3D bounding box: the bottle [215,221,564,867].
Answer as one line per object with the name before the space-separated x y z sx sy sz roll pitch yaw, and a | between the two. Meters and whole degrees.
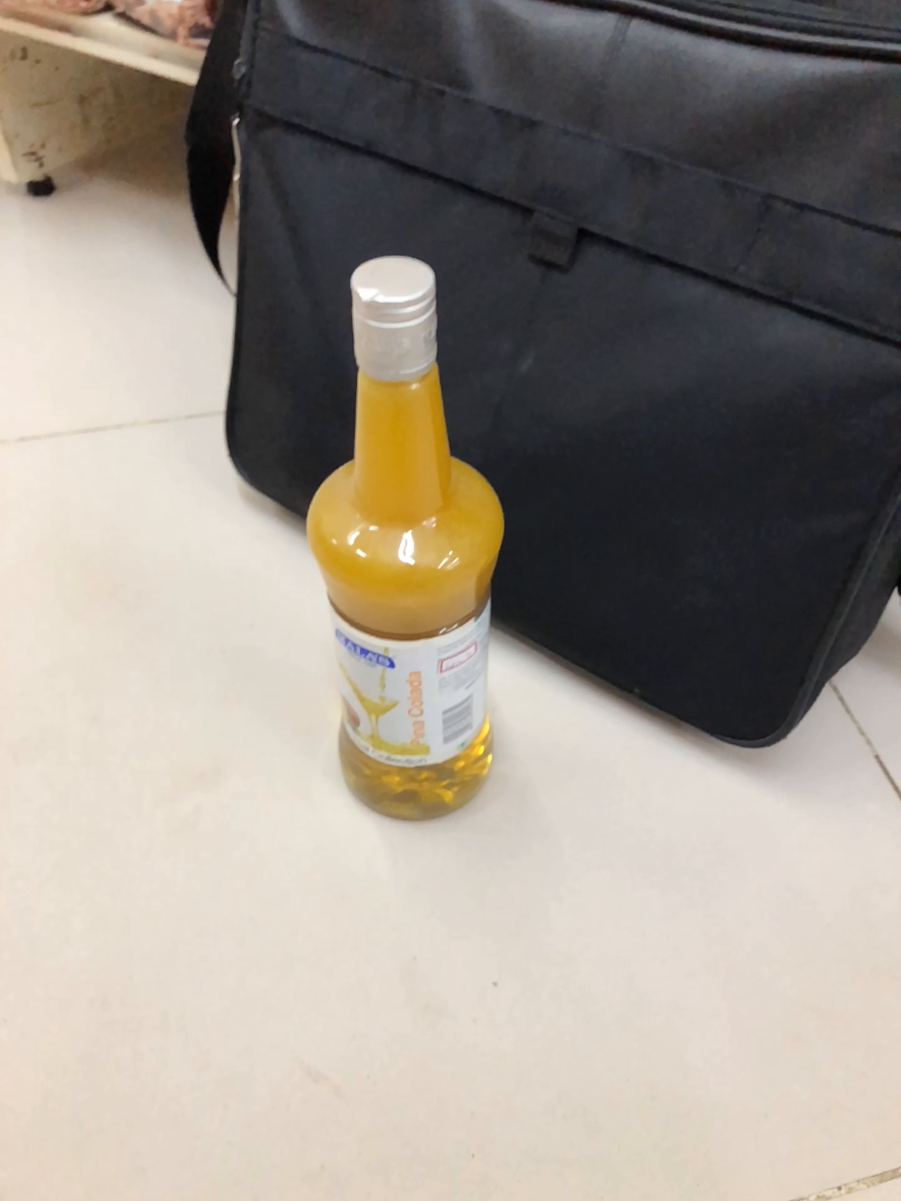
bottle | -0.020 -0.004 0.446 0.090 0.288 0.080 23 51 20
